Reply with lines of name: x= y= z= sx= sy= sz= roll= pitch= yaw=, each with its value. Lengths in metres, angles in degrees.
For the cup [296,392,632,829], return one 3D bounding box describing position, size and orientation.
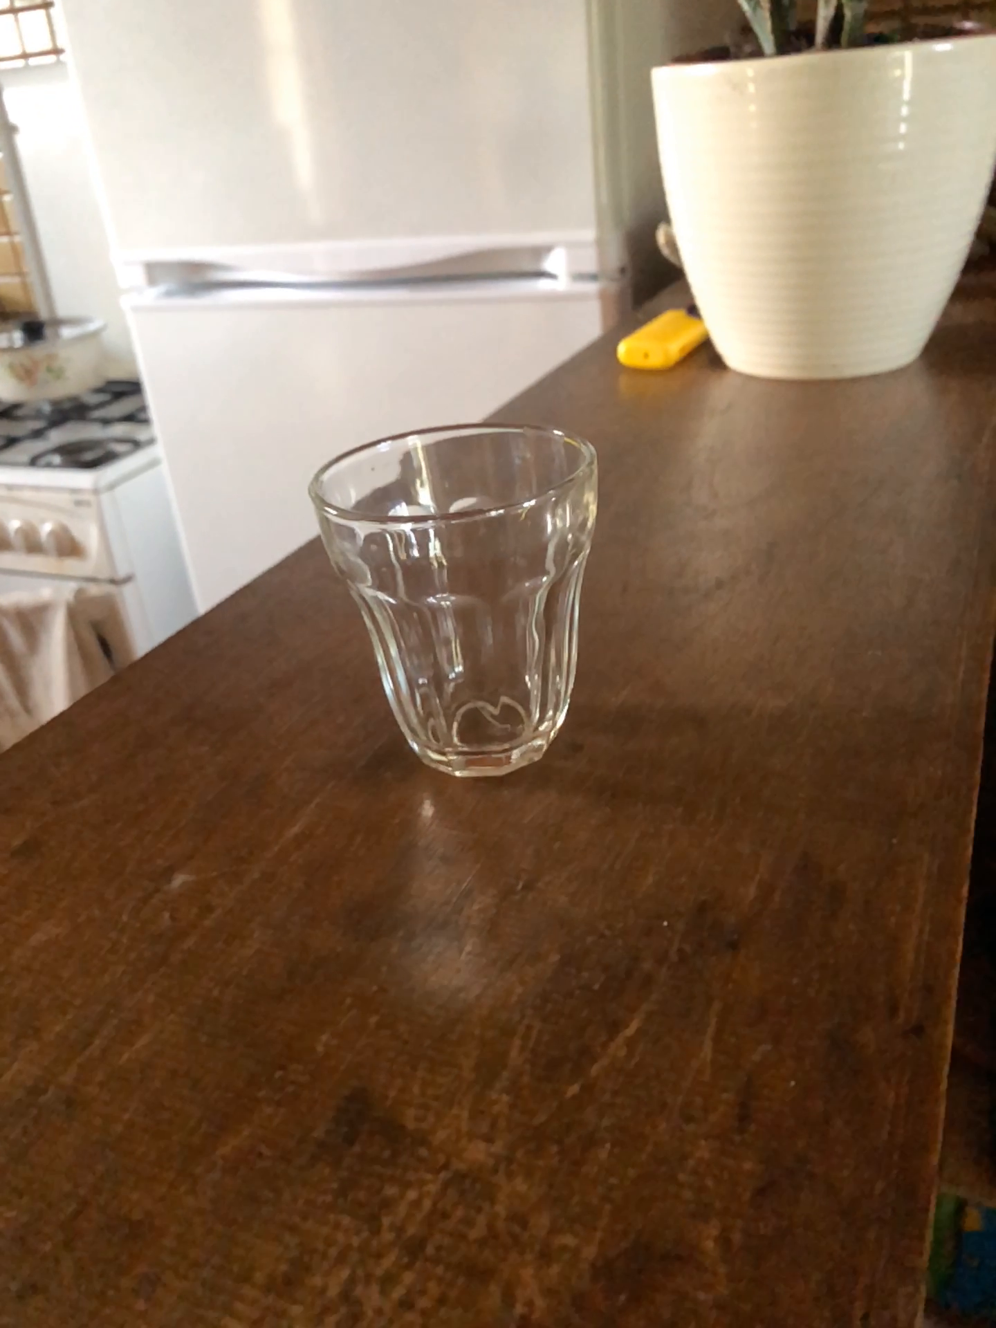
cup: x=-0.011 y=-0.018 z=0.292 sx=0.070 sy=0.080 sz=0.080 roll=-9 pitch=28 yaw=-6
